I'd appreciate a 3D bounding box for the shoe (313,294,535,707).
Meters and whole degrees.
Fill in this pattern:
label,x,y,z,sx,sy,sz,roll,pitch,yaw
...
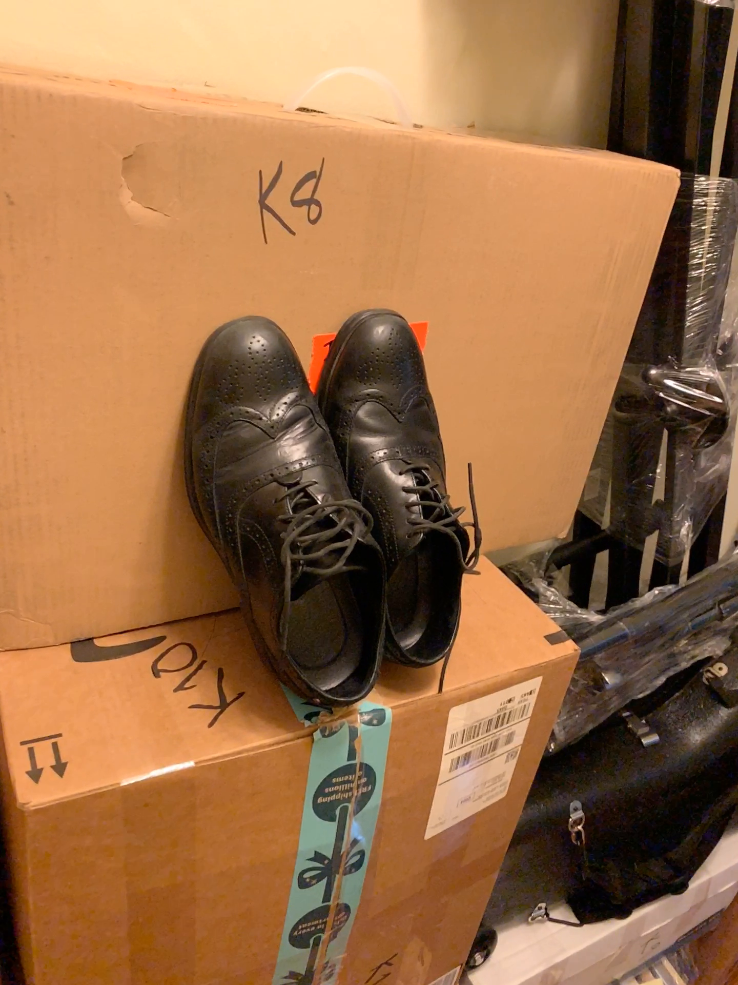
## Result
label,x,y,z,sx,sy,sz,roll,pitch,yaw
shoe,0.035,-0.003,0.571,0.120,0.279,0.100,-8,18,-31

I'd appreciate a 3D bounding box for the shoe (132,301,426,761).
label,x,y,z,sx,sy,sz,roll,pitch,yaw
shoe,-0.056,0.020,0.529,0.120,0.279,0.100,-21,23,-29
